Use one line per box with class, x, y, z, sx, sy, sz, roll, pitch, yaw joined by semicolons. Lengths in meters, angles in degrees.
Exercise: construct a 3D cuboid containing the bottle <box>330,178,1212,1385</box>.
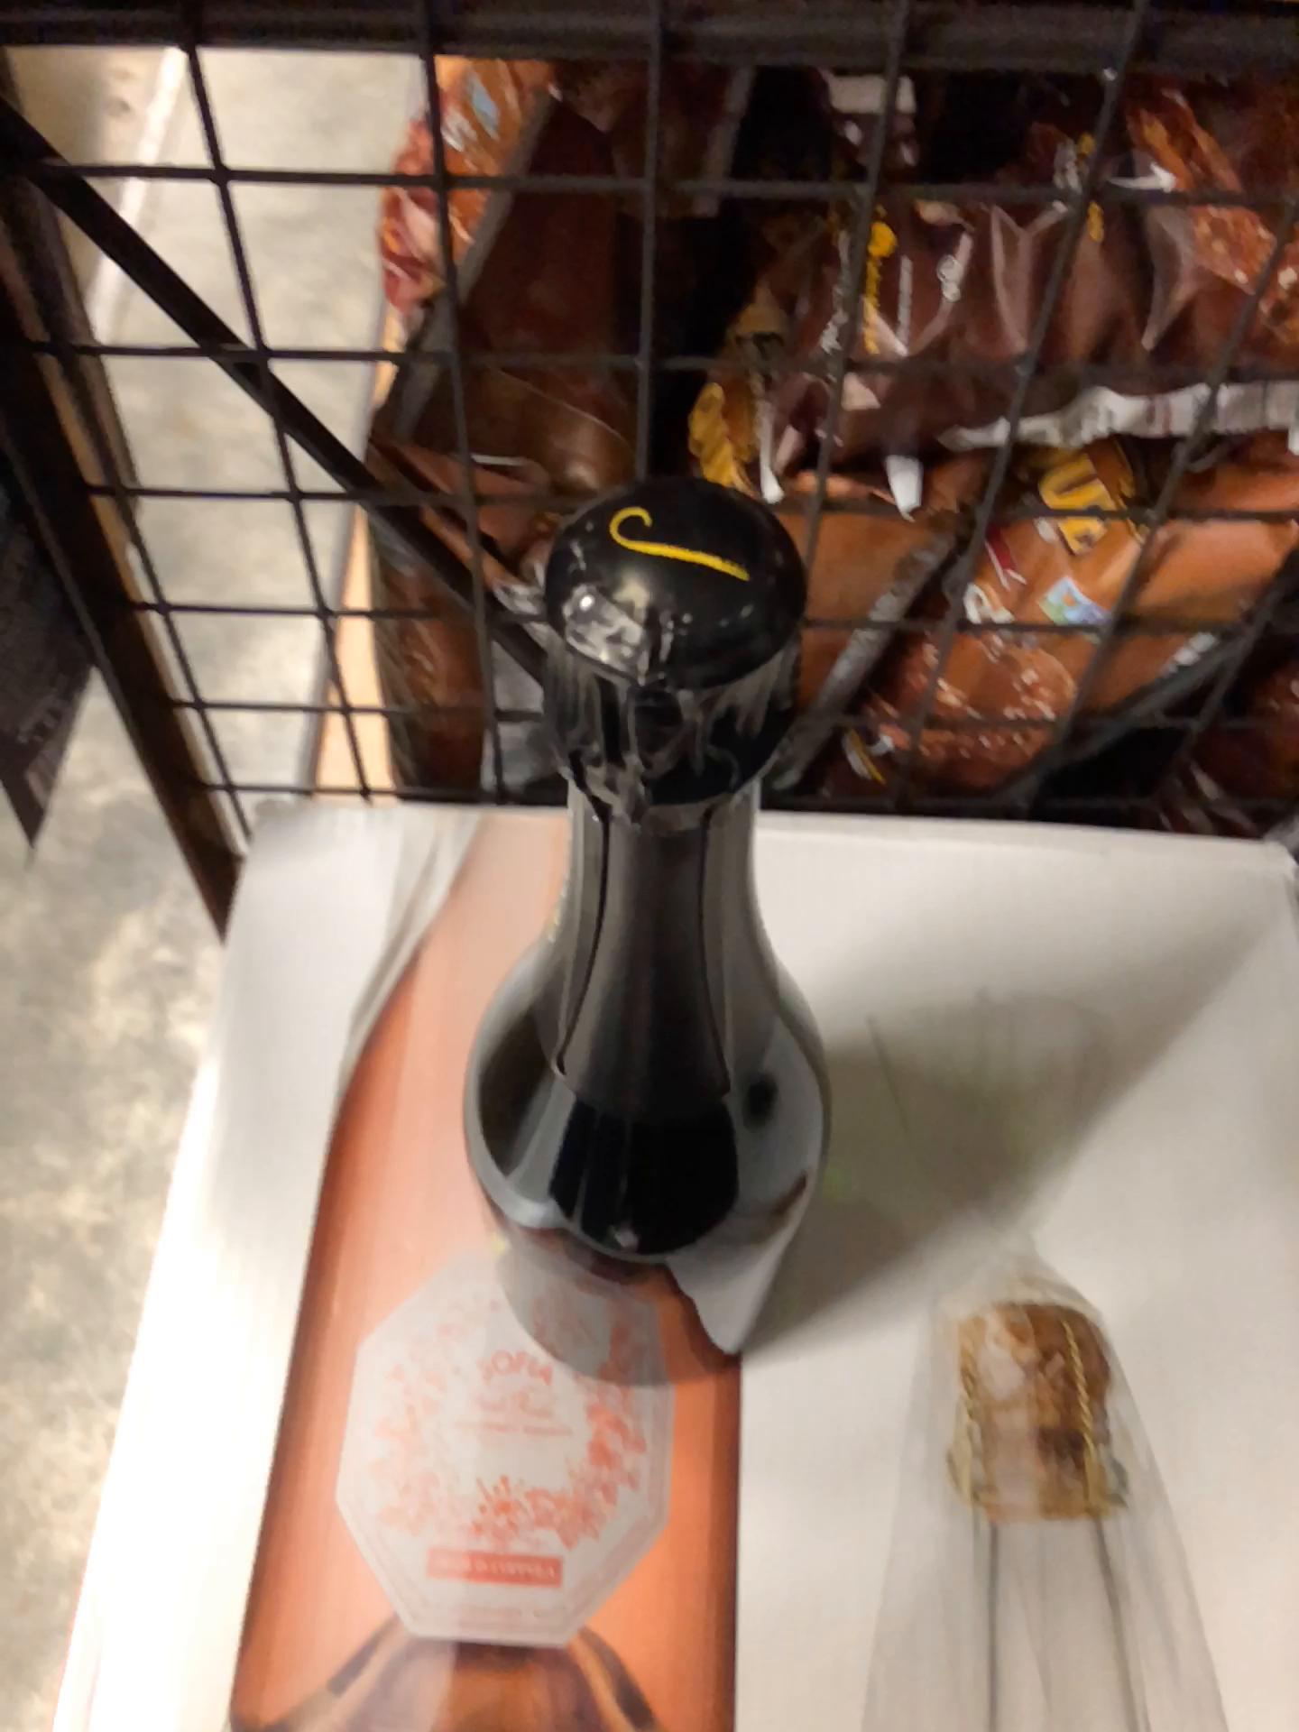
bottle;0.006;0.021;0.307;0.090;0.290;0.090;1;58;-2
